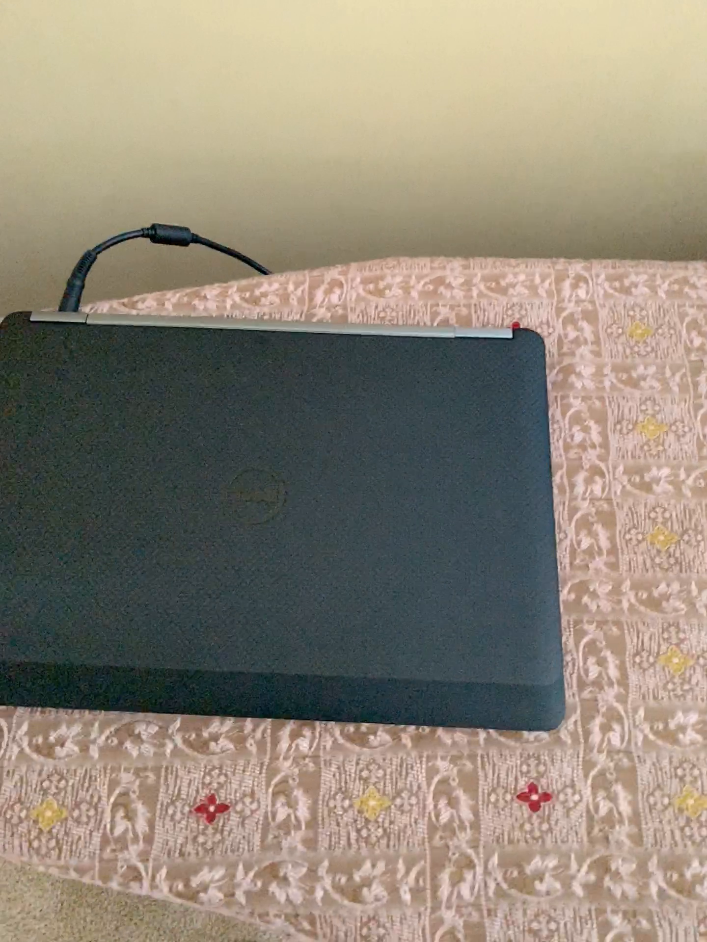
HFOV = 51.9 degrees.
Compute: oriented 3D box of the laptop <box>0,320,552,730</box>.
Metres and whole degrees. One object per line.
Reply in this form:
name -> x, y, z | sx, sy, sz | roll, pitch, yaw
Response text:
laptop -> -0.054, 0.017, 0.367 | 0.294, 0.017, 0.197 | 2, 71, 6
